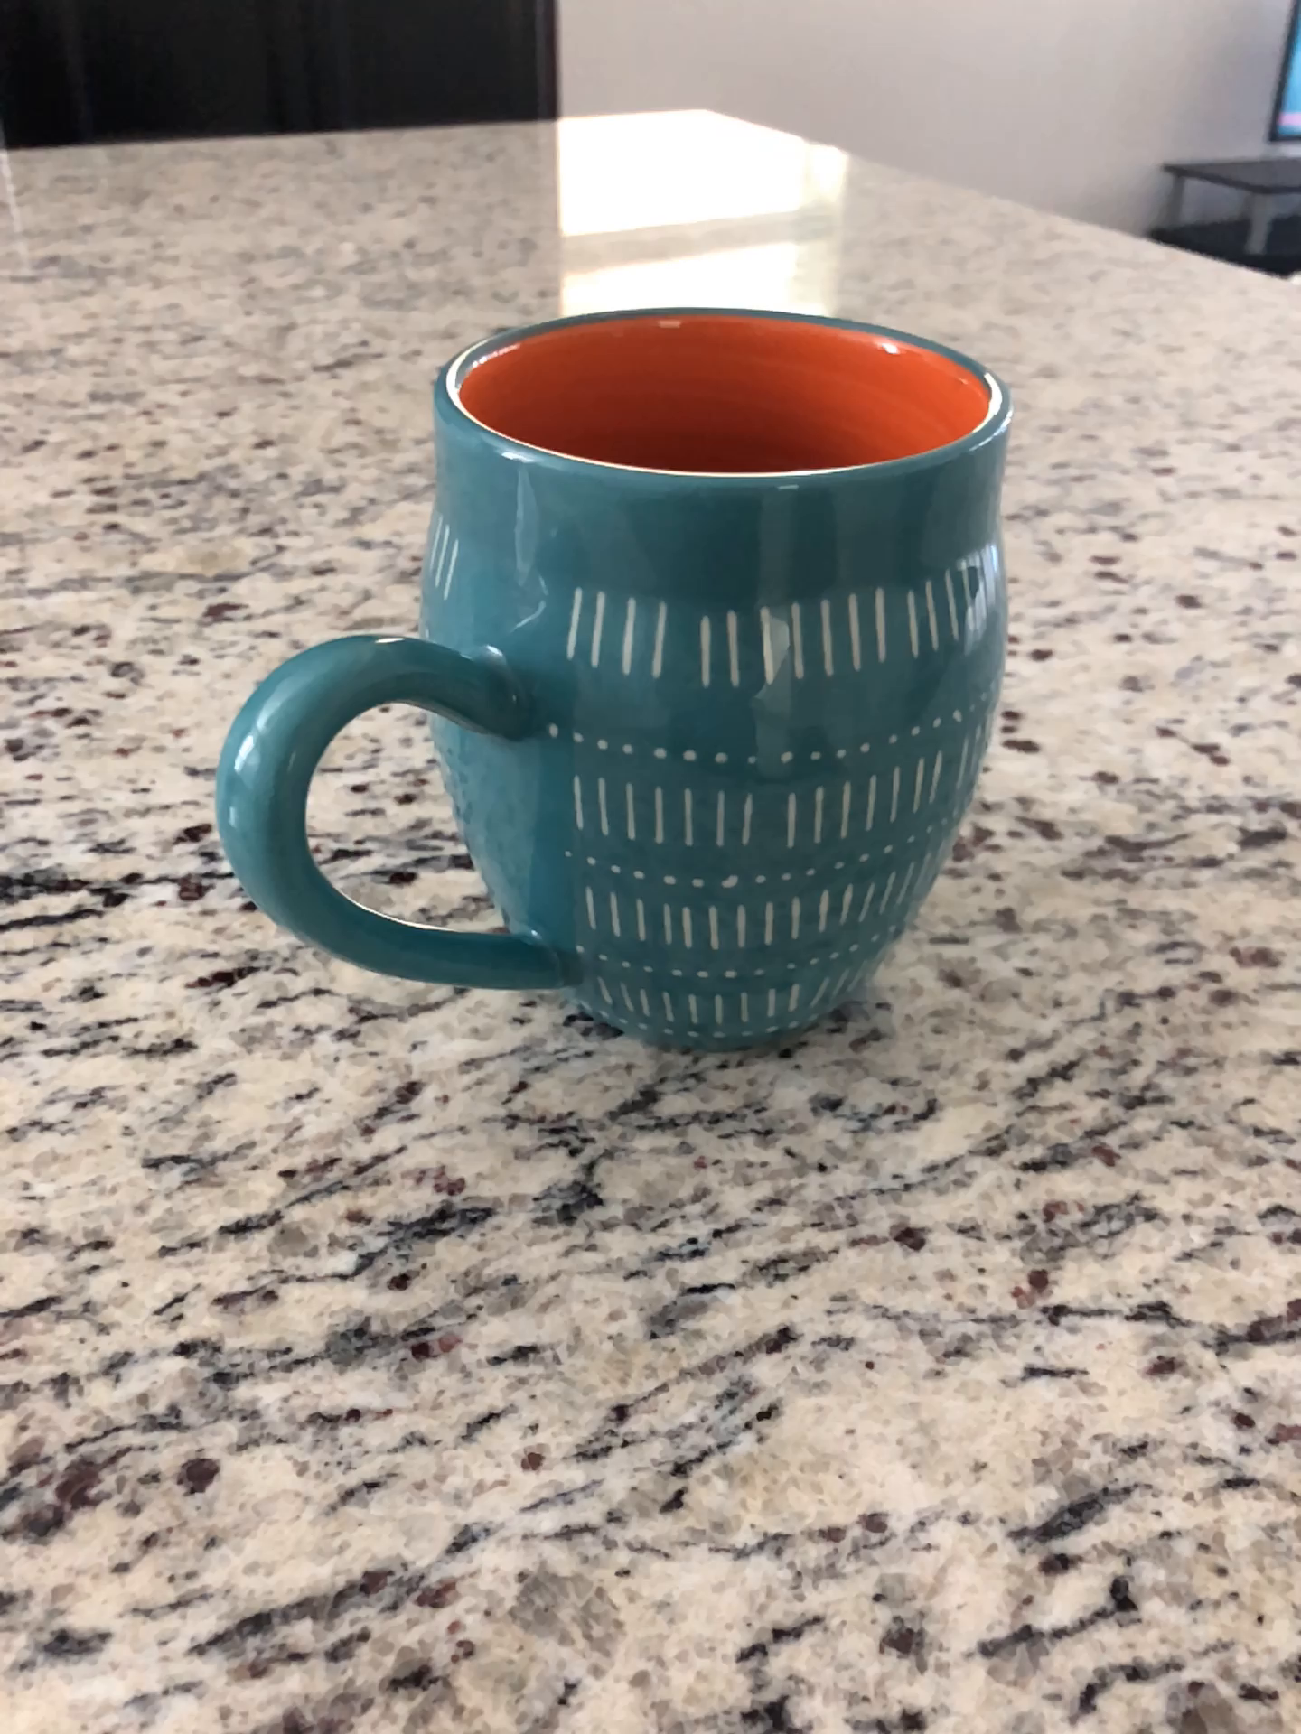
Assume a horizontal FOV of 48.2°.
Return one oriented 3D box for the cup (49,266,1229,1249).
[{"bbox_3d":[-0.004,-0.035,0.256,0.151,0.099,0.111,-20,39,-28],"label":"cup"}]
